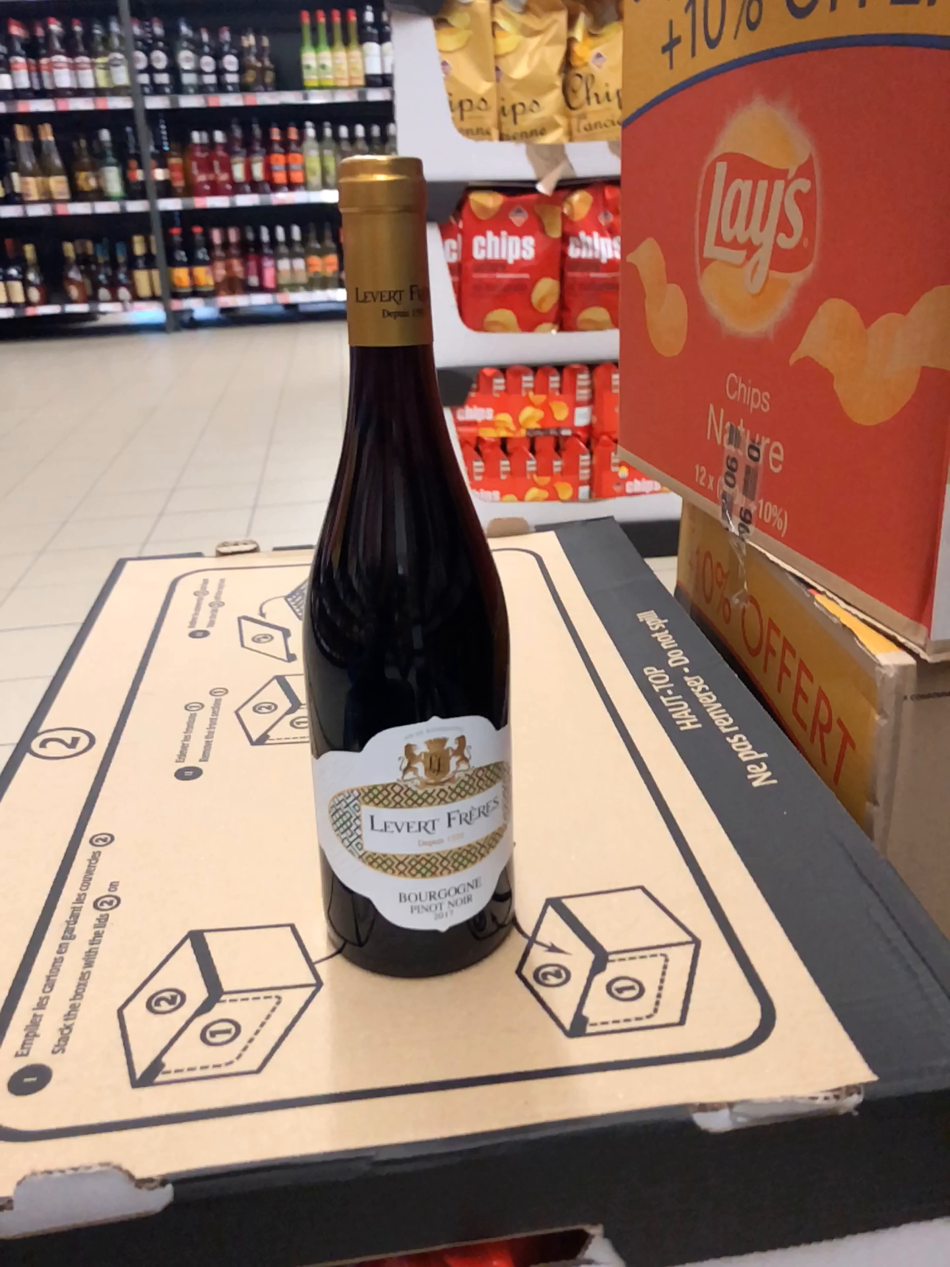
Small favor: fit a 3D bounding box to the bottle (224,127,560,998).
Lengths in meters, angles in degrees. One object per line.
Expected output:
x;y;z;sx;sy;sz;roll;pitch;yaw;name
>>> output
-0.024;-0.018;0.386;0.090;0.298;0.080;-6;23;-8;bottle
